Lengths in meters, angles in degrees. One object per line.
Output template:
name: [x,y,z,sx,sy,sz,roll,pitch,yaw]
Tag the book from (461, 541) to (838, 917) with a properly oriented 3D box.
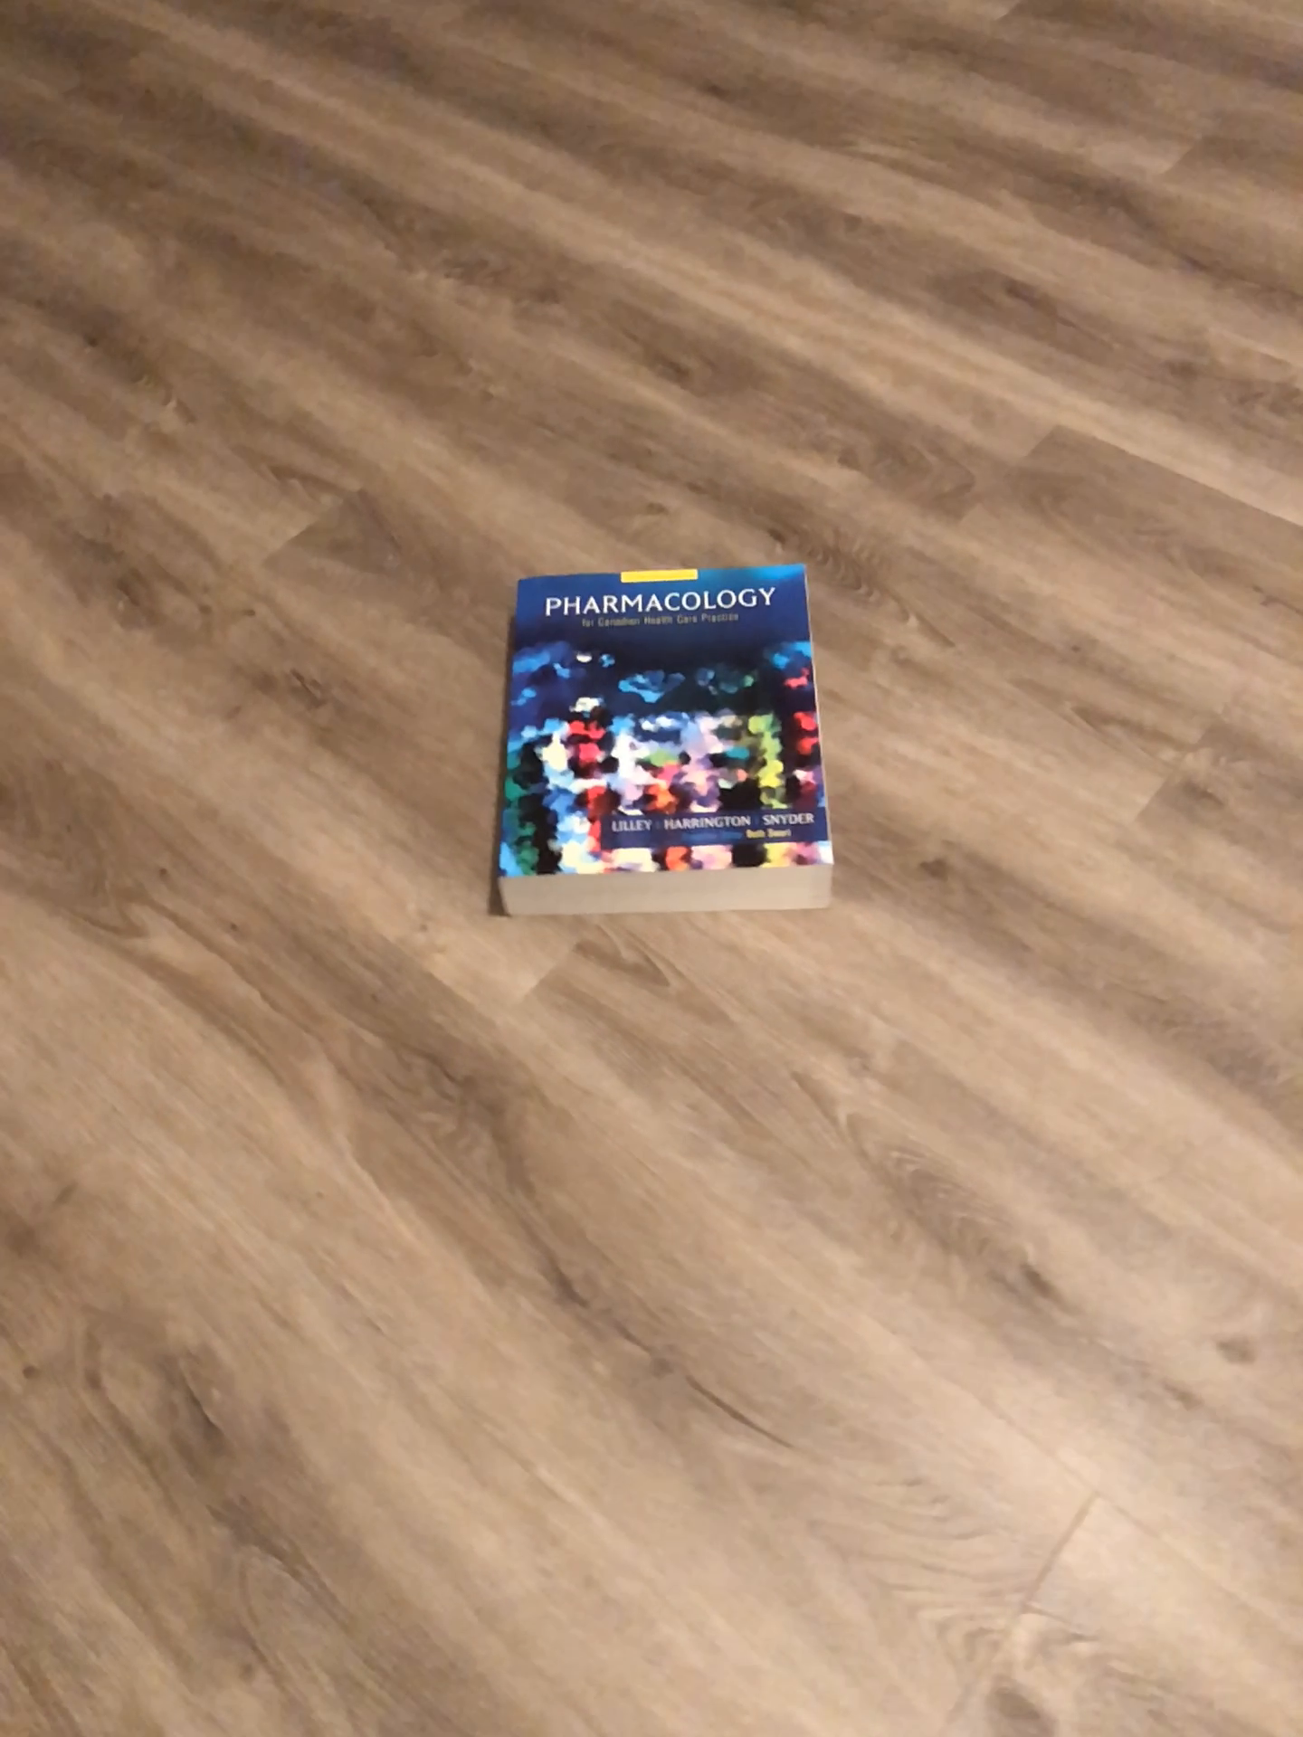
book: [-0.002,-0.101,0.966,0.228,0.046,0.278,-3,54,3]
